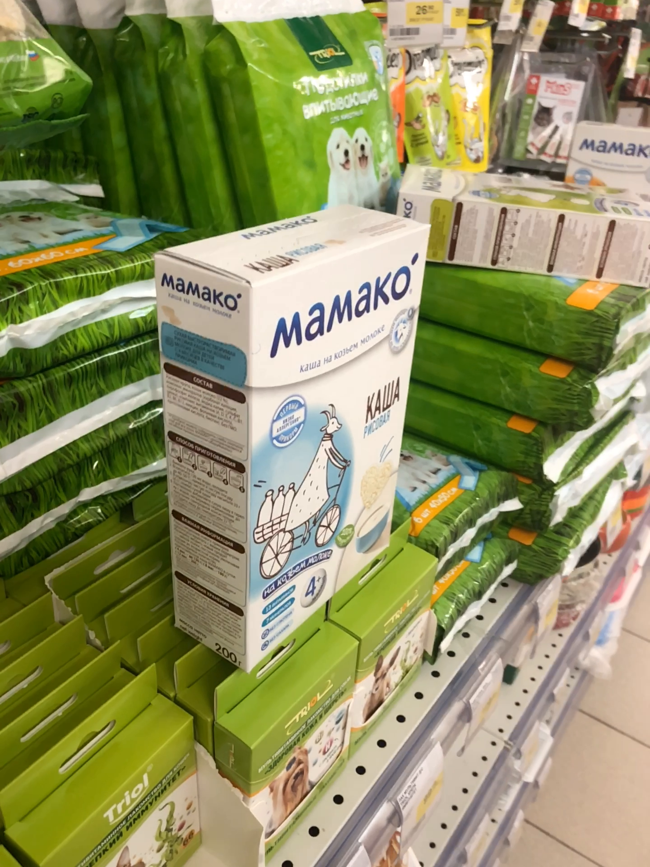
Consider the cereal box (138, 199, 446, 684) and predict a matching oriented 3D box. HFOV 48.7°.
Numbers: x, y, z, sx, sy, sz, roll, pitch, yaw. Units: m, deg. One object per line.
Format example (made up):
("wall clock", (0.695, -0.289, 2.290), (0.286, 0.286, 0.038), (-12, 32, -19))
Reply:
("cereal box", (-0.012, -0.002, 0.364), (0.060, 0.199, 0.141), (23, 35, 30))
